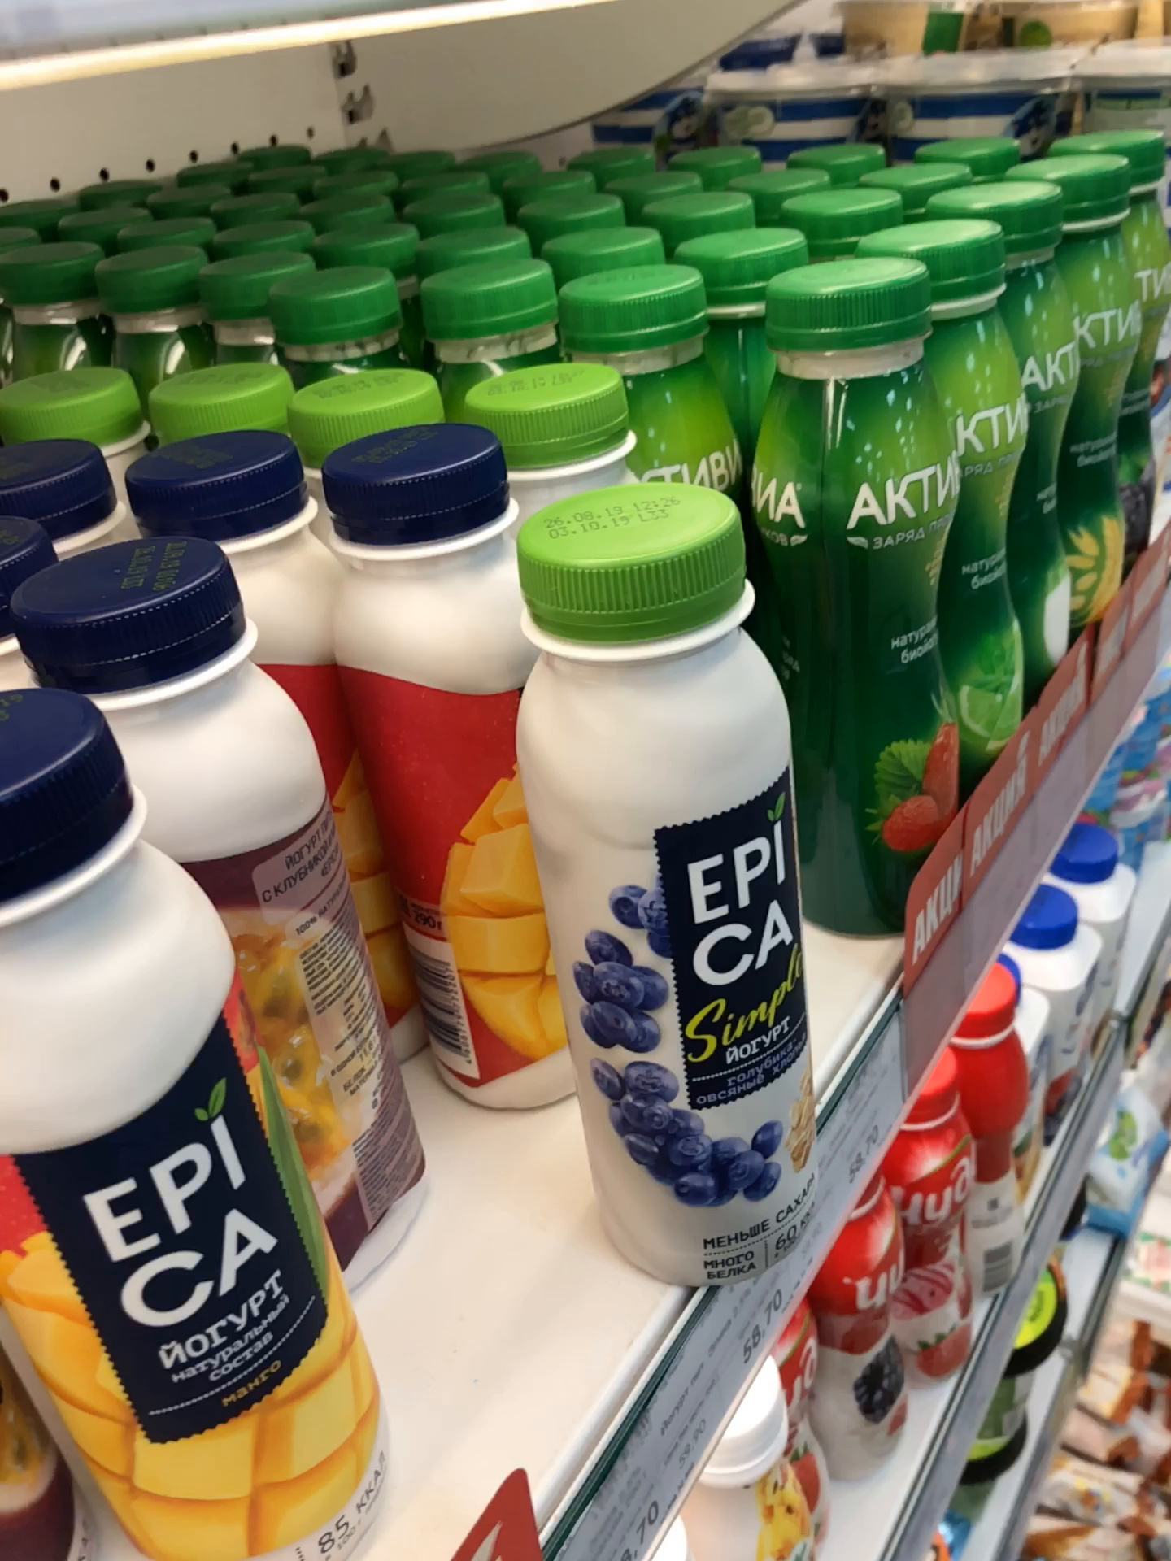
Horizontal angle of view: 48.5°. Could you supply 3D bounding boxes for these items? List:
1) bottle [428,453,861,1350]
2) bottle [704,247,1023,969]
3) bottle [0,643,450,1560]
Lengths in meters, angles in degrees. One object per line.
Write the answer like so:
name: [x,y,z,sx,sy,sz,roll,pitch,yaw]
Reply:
bottle: [0.018,0.029,0.263,0.053,0.170,0.052,-5,31,3]
bottle: [0.075,-0.043,0.356,0.053,0.181,0.052,-5,31,3]
bottle: [-0.071,0.070,0.214,0.053,0.170,0.049,-5,31,3]
